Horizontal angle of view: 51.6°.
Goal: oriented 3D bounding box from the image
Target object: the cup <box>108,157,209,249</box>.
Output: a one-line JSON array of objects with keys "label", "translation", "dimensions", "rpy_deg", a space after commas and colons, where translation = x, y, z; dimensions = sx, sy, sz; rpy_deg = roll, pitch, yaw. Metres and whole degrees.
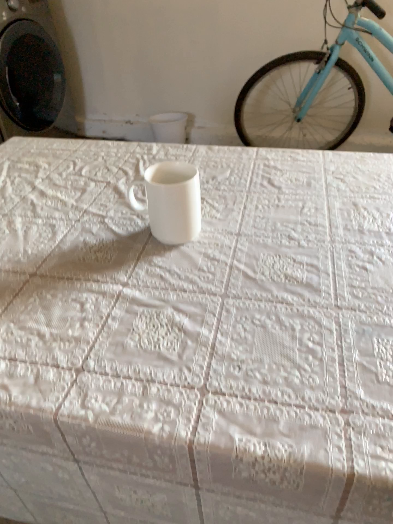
[{"label": "cup", "translation": [-0.055, -0.096, 0.640], "dimensions": [0.120, 0.090, 0.090], "rpy_deg": [15, 43, 22]}]
